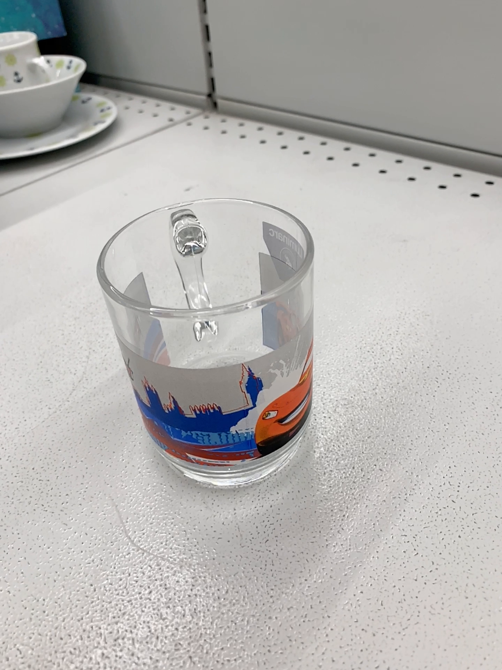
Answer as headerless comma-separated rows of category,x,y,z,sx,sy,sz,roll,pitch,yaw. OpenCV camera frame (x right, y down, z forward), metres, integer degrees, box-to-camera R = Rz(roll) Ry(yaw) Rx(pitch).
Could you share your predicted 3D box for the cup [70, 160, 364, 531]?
cup,-0.011,-0.002,0.192,0.072,0.081,0.102,-7,40,-2
